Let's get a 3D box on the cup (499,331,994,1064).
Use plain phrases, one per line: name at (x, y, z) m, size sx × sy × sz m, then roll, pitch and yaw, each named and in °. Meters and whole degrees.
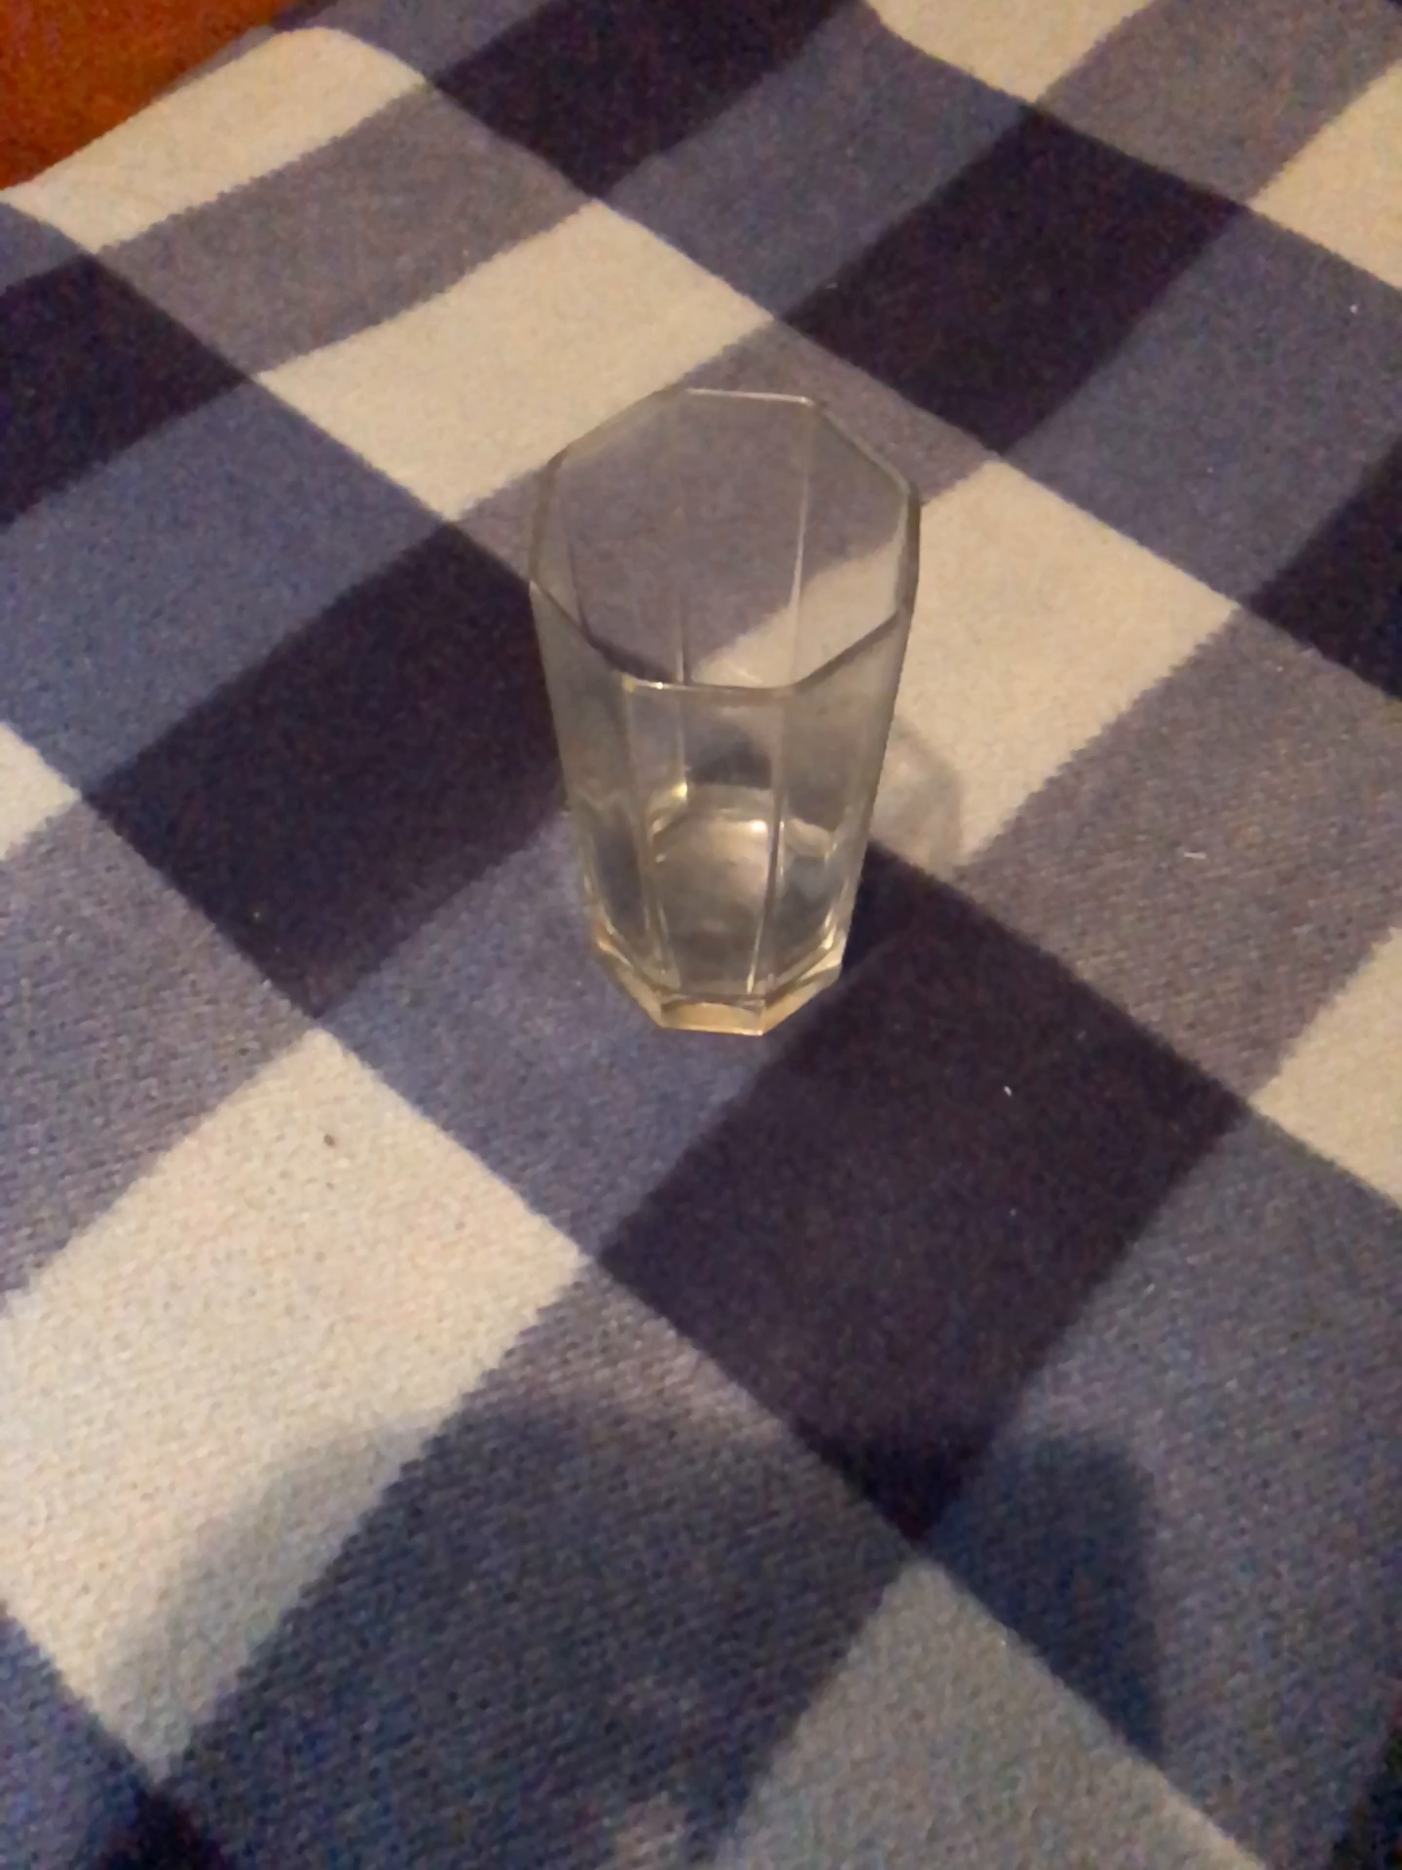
cup at (0.004, -0.041, 0.328) m, size 0.077 × 0.137 × 0.082 m, roll 0°, pitch 61°, yaw -1°
